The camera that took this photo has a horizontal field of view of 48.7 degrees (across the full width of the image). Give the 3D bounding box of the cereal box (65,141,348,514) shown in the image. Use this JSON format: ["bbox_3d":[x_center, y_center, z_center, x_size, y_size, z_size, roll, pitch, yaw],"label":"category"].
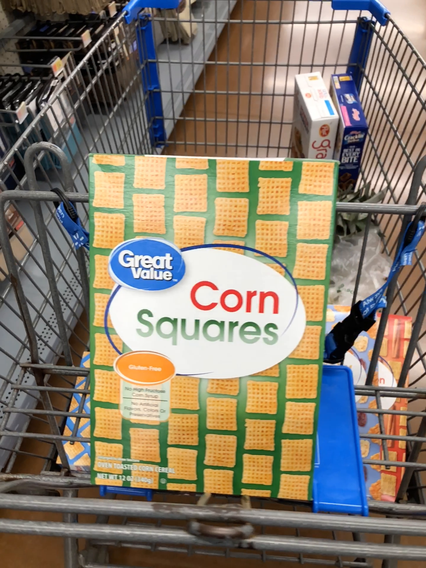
[{"bbox_3d":[-0.007,0.033,0.388,0.200,0.280,0.070,2,9,4],"label":"cereal box"}]
